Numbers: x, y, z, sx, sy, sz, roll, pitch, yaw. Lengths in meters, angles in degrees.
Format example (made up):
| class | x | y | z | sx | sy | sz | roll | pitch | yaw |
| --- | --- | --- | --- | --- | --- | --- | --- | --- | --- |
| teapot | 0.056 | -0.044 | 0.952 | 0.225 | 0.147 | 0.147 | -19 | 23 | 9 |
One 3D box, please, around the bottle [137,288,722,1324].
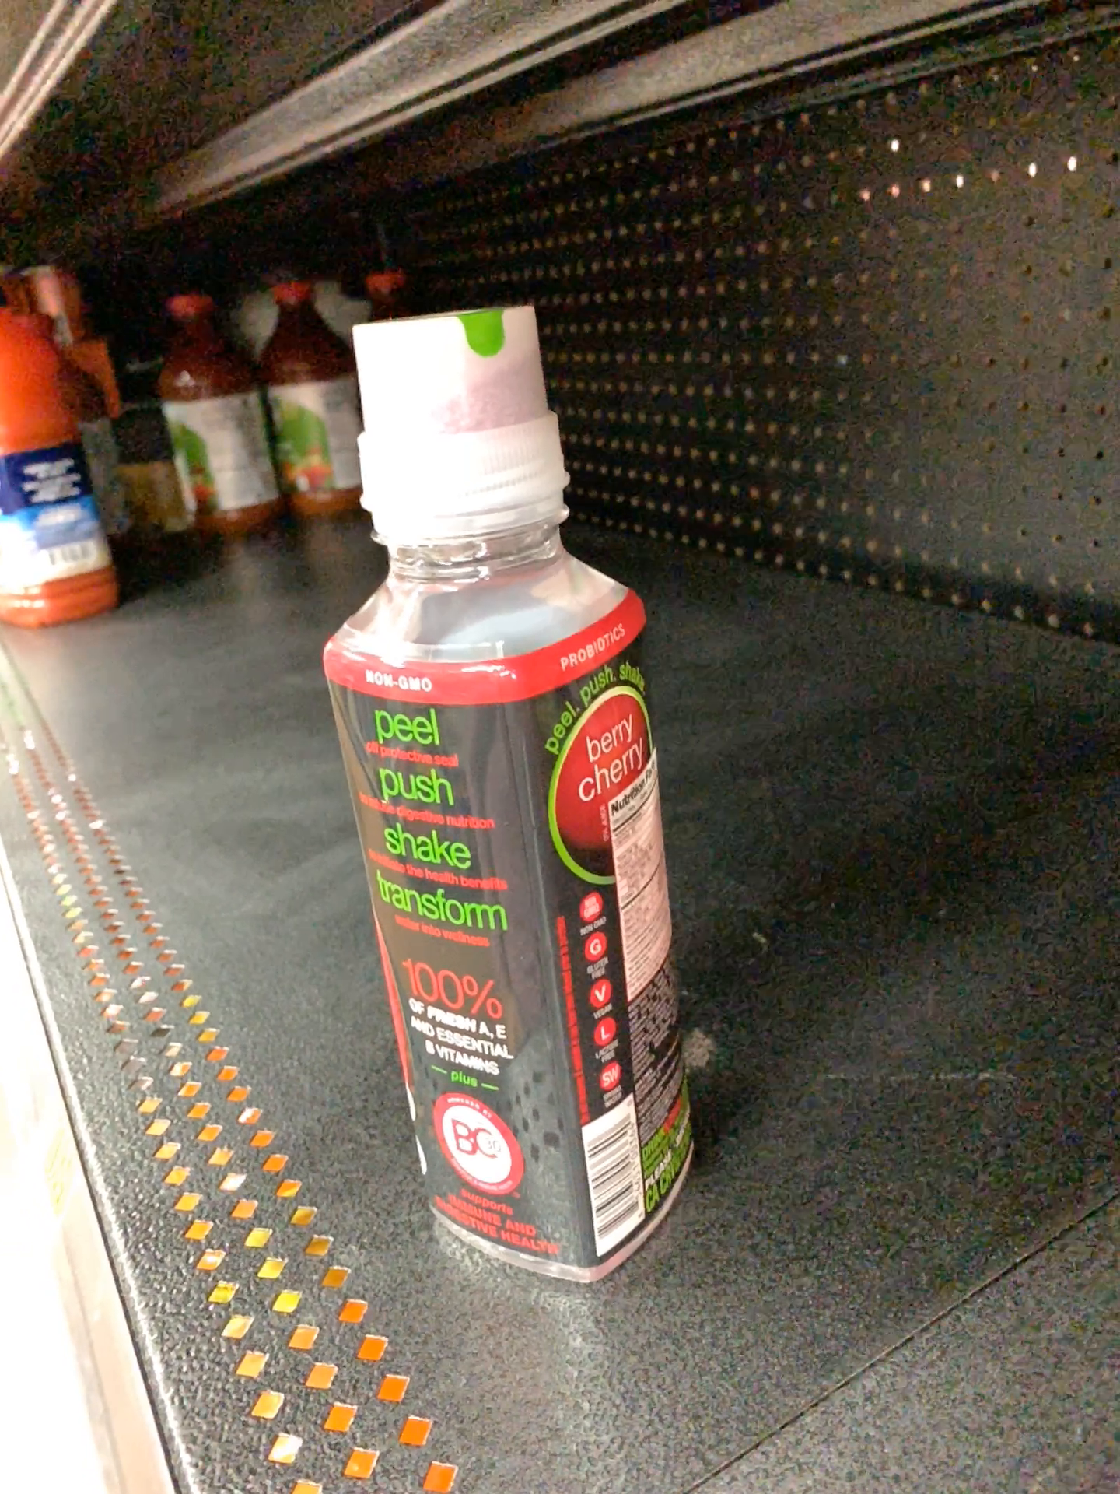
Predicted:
| class | x | y | z | sx | sy | sz | roll | pitch | yaw |
| --- | --- | --- | --- | --- | --- | --- | --- | --- | --- |
| bottle | -0.018 | 0.015 | 0.263 | 0.070 | 0.209 | 0.069 | -7 | 22 | 3 |
